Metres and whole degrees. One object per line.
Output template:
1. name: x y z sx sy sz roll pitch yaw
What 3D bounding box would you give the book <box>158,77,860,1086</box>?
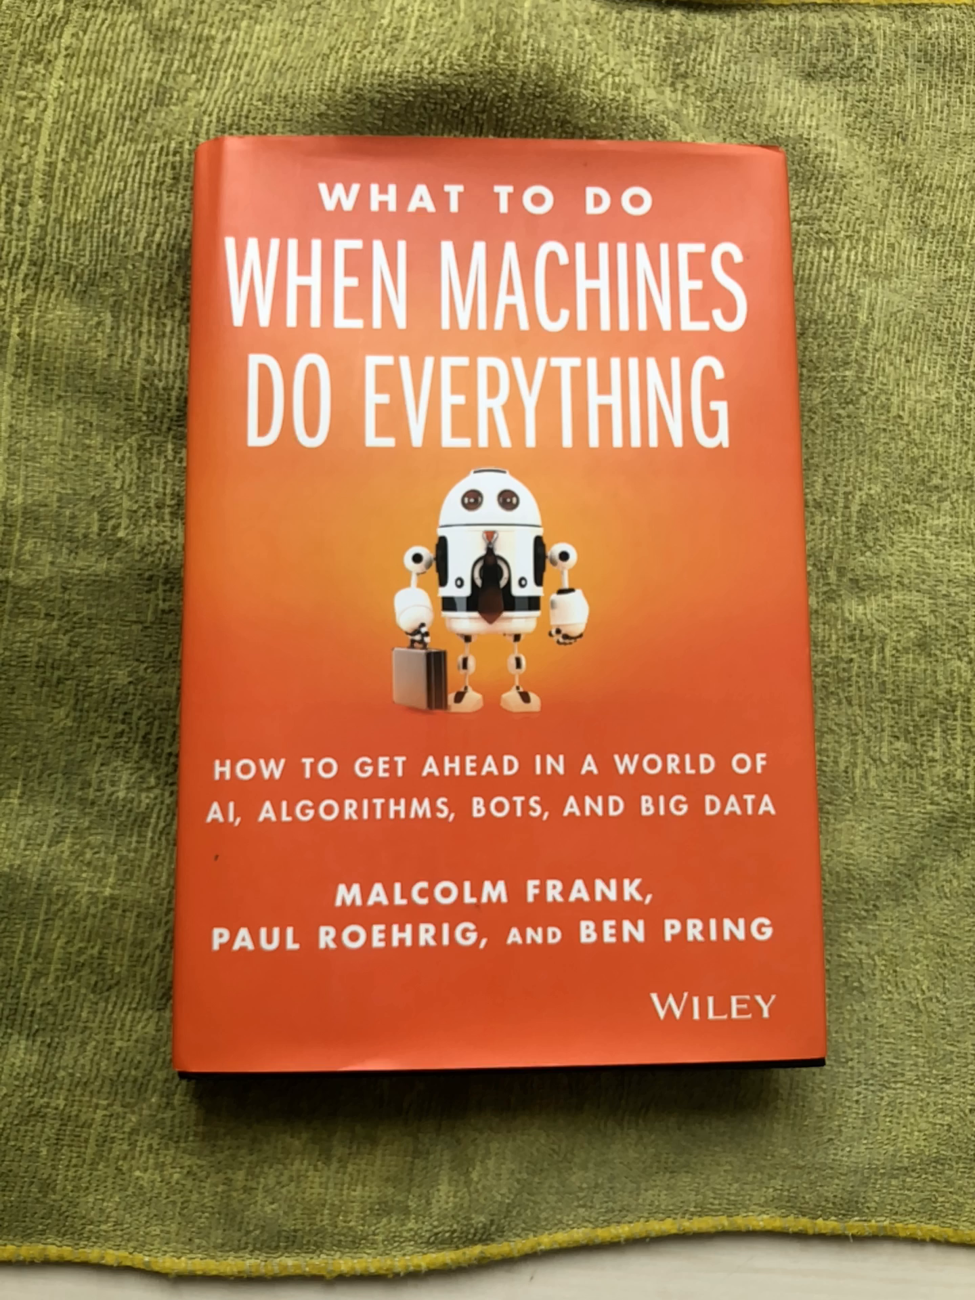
1. book: 0.005 -0.020 0.281 0.160 0.040 0.240 0 83 -4
